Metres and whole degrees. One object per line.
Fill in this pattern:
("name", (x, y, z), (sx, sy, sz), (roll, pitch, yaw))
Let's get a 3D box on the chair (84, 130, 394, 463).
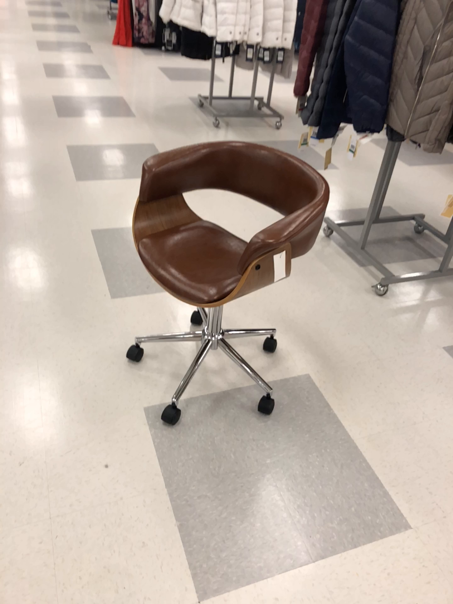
("chair", (-0.002, -0.068, 1.564), (0.628, 0.696, 0.590), (-21, 44, -33))
